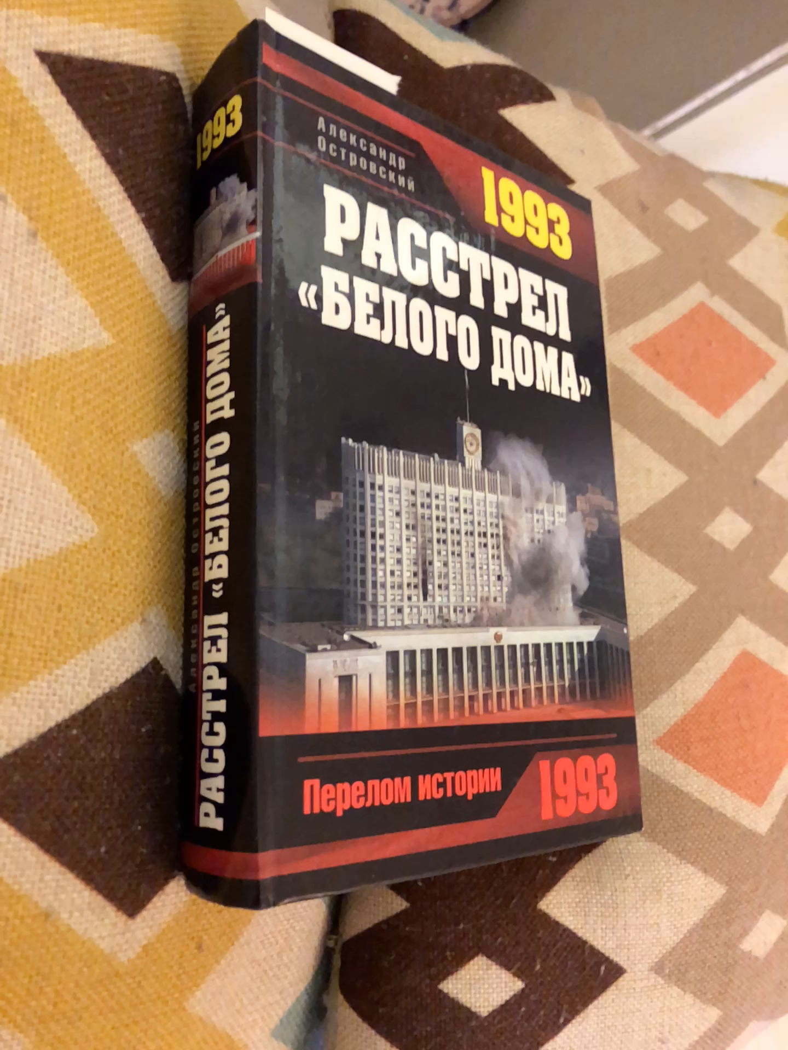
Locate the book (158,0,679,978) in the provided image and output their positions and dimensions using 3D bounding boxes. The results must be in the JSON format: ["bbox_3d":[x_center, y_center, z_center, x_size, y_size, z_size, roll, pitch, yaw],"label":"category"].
[{"bbox_3d":[0.014,-0.010,0.235,0.141,0.030,0.210,8,75,-38],"label":"book"}]
